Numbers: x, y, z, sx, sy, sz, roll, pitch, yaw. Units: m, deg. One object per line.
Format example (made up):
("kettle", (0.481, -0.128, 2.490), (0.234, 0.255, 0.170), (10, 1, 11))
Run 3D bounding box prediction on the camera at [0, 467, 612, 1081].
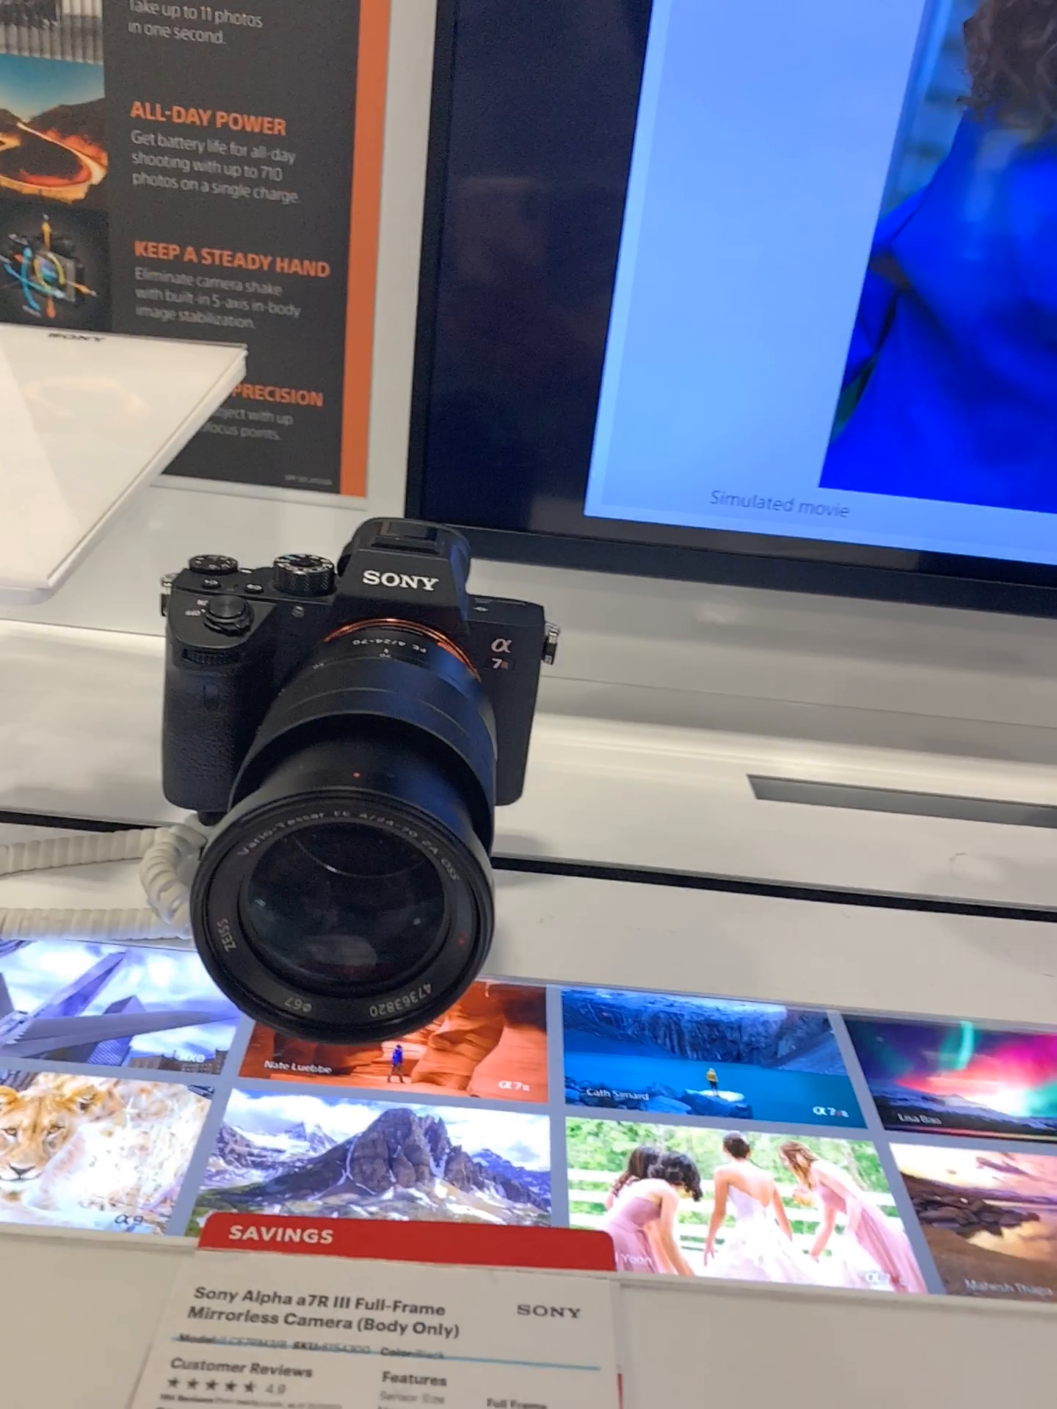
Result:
("camera", (-0.057, 0.004, 0.332), (0.130, 0.100, 0.194), (4, 24, -5))
